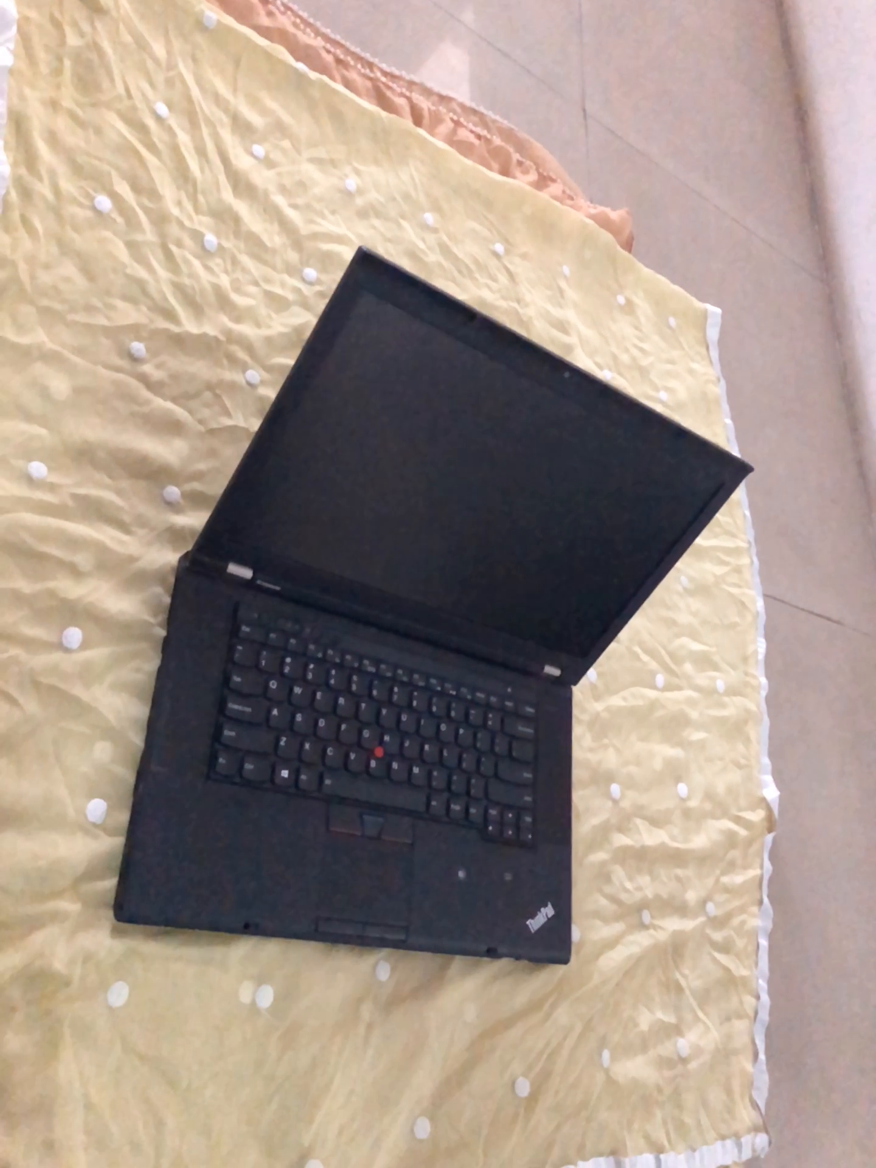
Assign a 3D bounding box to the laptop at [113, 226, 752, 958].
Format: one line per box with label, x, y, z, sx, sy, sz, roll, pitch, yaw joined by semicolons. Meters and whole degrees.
laptop;0.024;0.045;0.673;0.364;0.191;0.381;20;65;-33
